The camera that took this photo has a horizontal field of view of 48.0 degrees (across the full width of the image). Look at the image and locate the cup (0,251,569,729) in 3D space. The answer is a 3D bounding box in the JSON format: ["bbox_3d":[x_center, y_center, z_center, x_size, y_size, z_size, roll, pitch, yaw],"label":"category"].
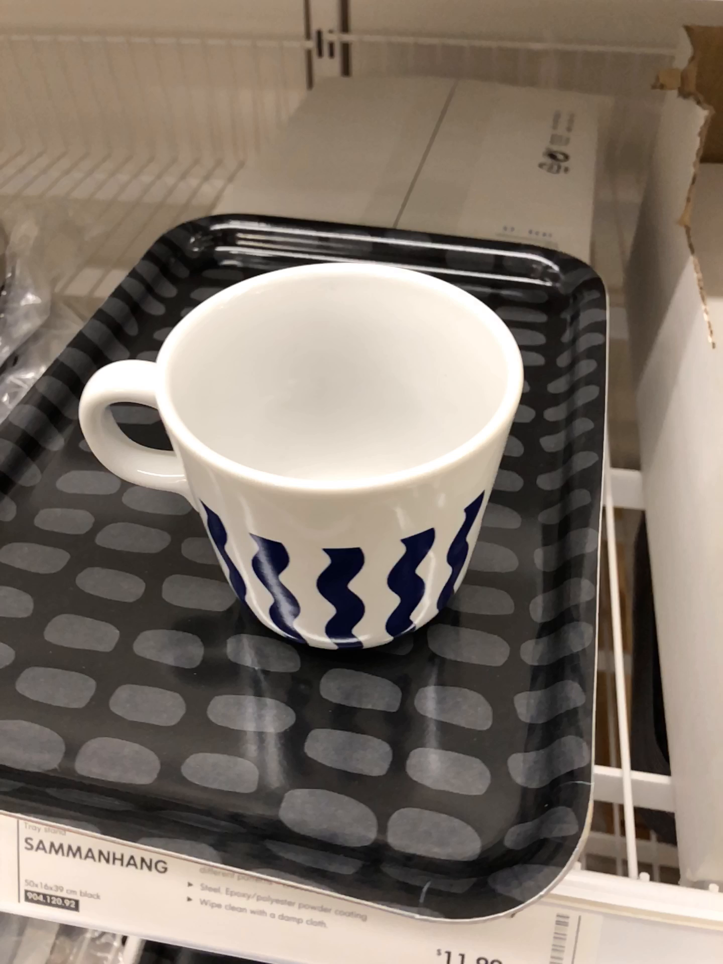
[{"bbox_3d":[-0.016,-0.001,0.216,0.120,0.080,0.090,3,42,5],"label":"cup"}]
